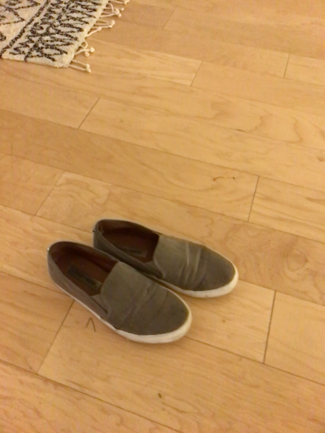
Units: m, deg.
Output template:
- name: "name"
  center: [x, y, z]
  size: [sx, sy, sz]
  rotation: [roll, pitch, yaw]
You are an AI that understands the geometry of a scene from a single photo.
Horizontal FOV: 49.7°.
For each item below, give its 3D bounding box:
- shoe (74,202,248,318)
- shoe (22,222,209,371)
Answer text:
- name: "shoe"
  center: [-0.003, 0.072, 0.627]
  size: [0.280, 0.050, 0.111]
  rotation: [18, 57, 12]
- name: "shoe"
  center: [-0.078, 0.123, 0.585]
  size: [0.280, 0.050, 0.121]
  rotation: [24, 58, 16]
